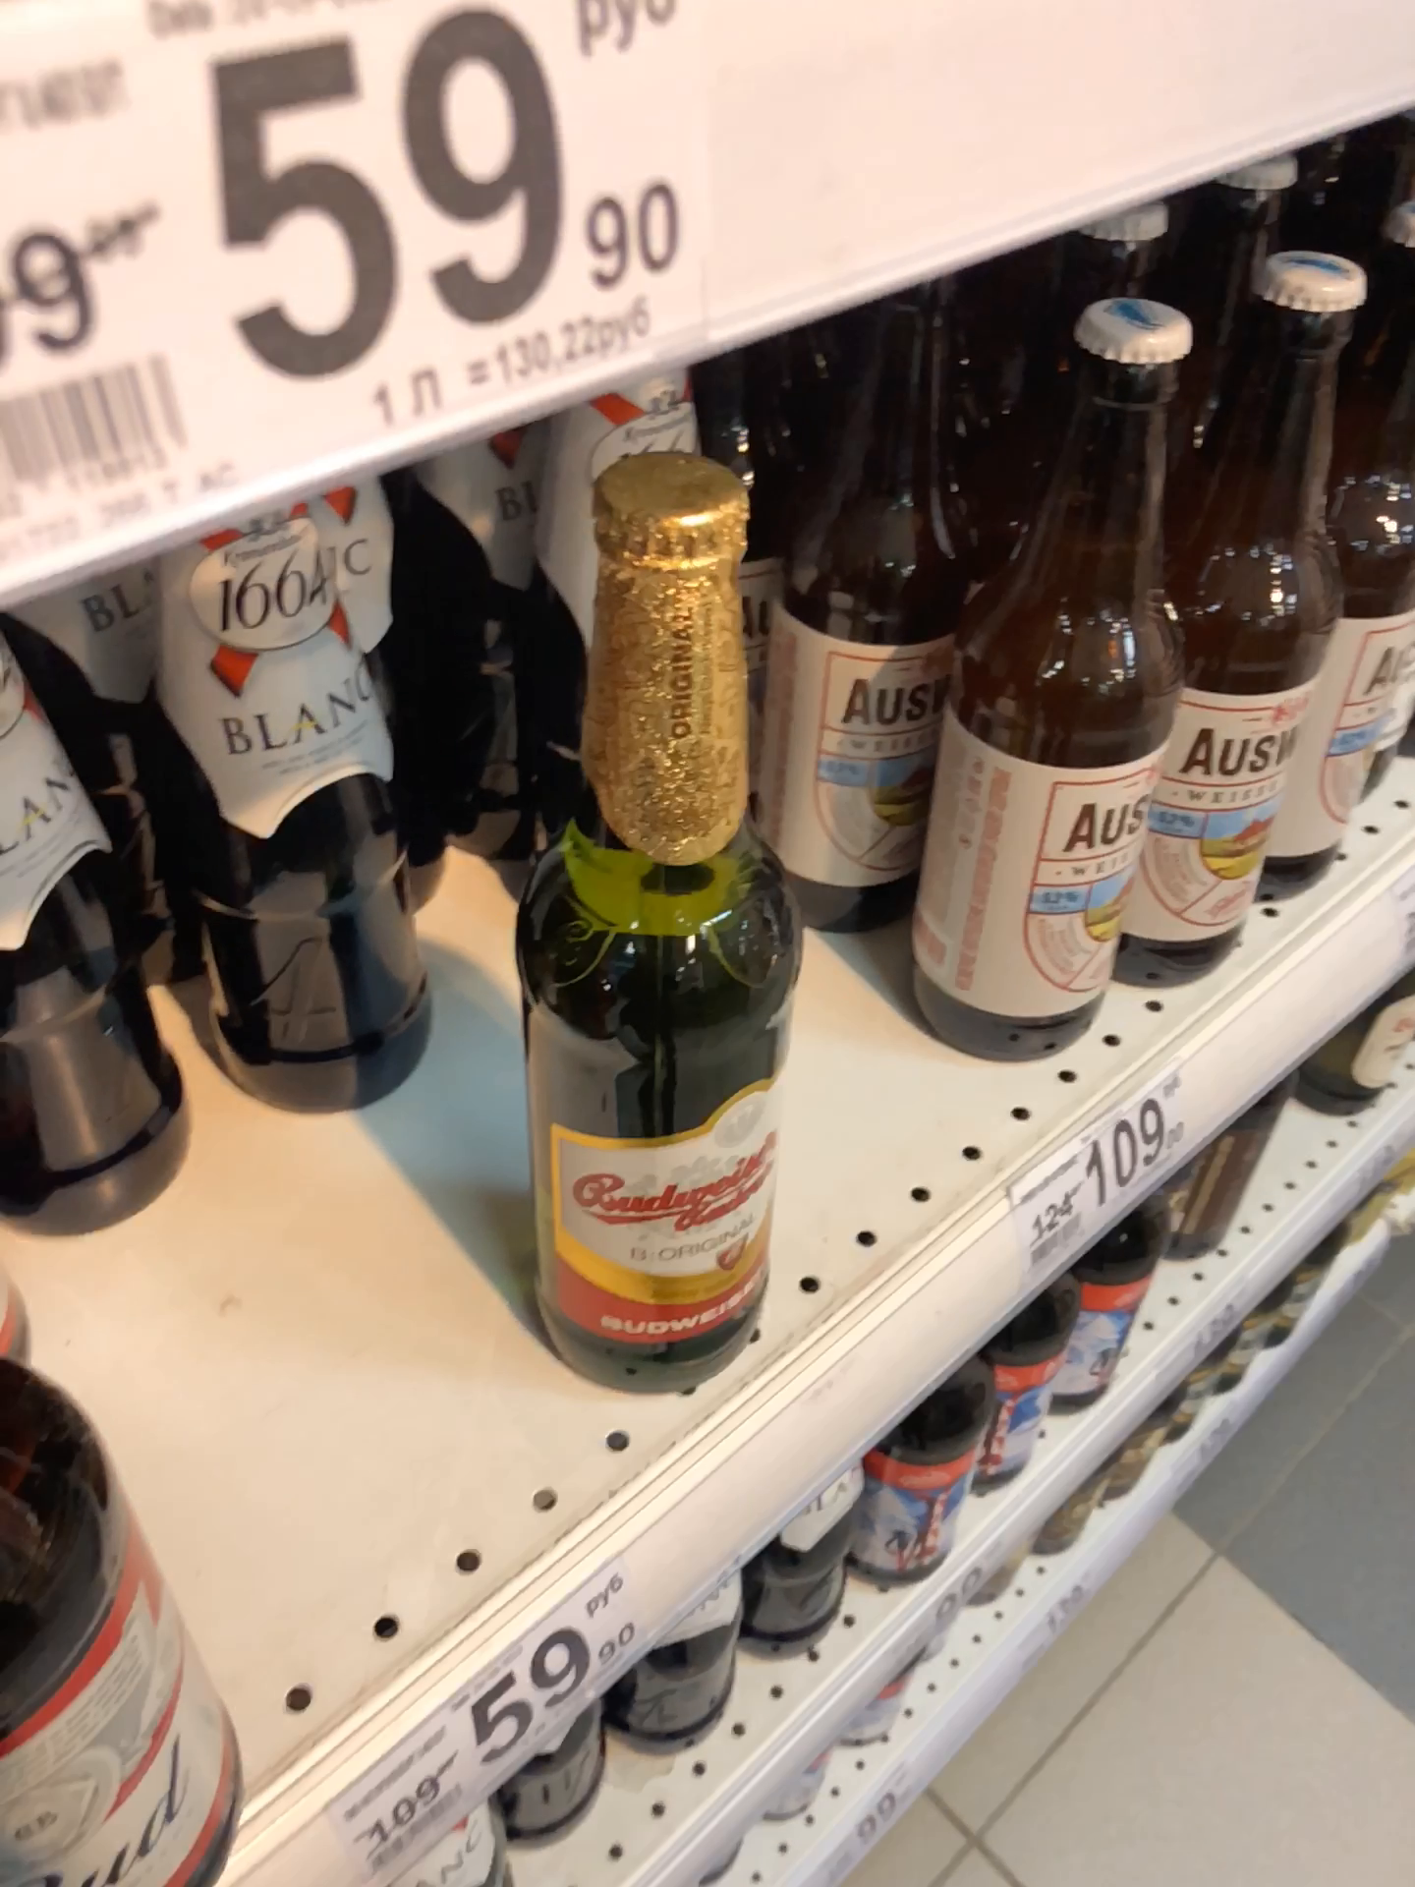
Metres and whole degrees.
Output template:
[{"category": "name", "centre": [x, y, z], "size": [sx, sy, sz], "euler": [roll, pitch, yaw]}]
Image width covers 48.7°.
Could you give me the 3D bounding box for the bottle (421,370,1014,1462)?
[{"category": "bottle", "centre": [-0.006, 0.012, 0.360], "size": [0.080, 0.254, 0.070], "euler": [-18, 48, -20]}]
